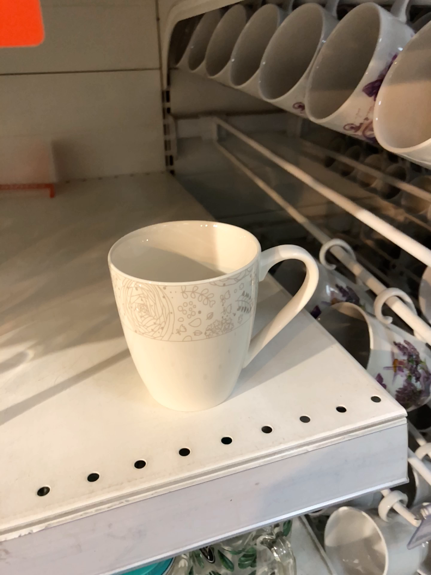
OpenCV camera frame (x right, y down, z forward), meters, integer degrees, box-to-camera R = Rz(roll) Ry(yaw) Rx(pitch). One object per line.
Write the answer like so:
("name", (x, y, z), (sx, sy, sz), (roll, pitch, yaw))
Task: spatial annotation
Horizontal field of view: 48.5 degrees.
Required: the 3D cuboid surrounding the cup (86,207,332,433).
("cup", (-0.009, 0.013, 0.303), (0.126, 0.091, 0.090), (-8, 30, -13))
